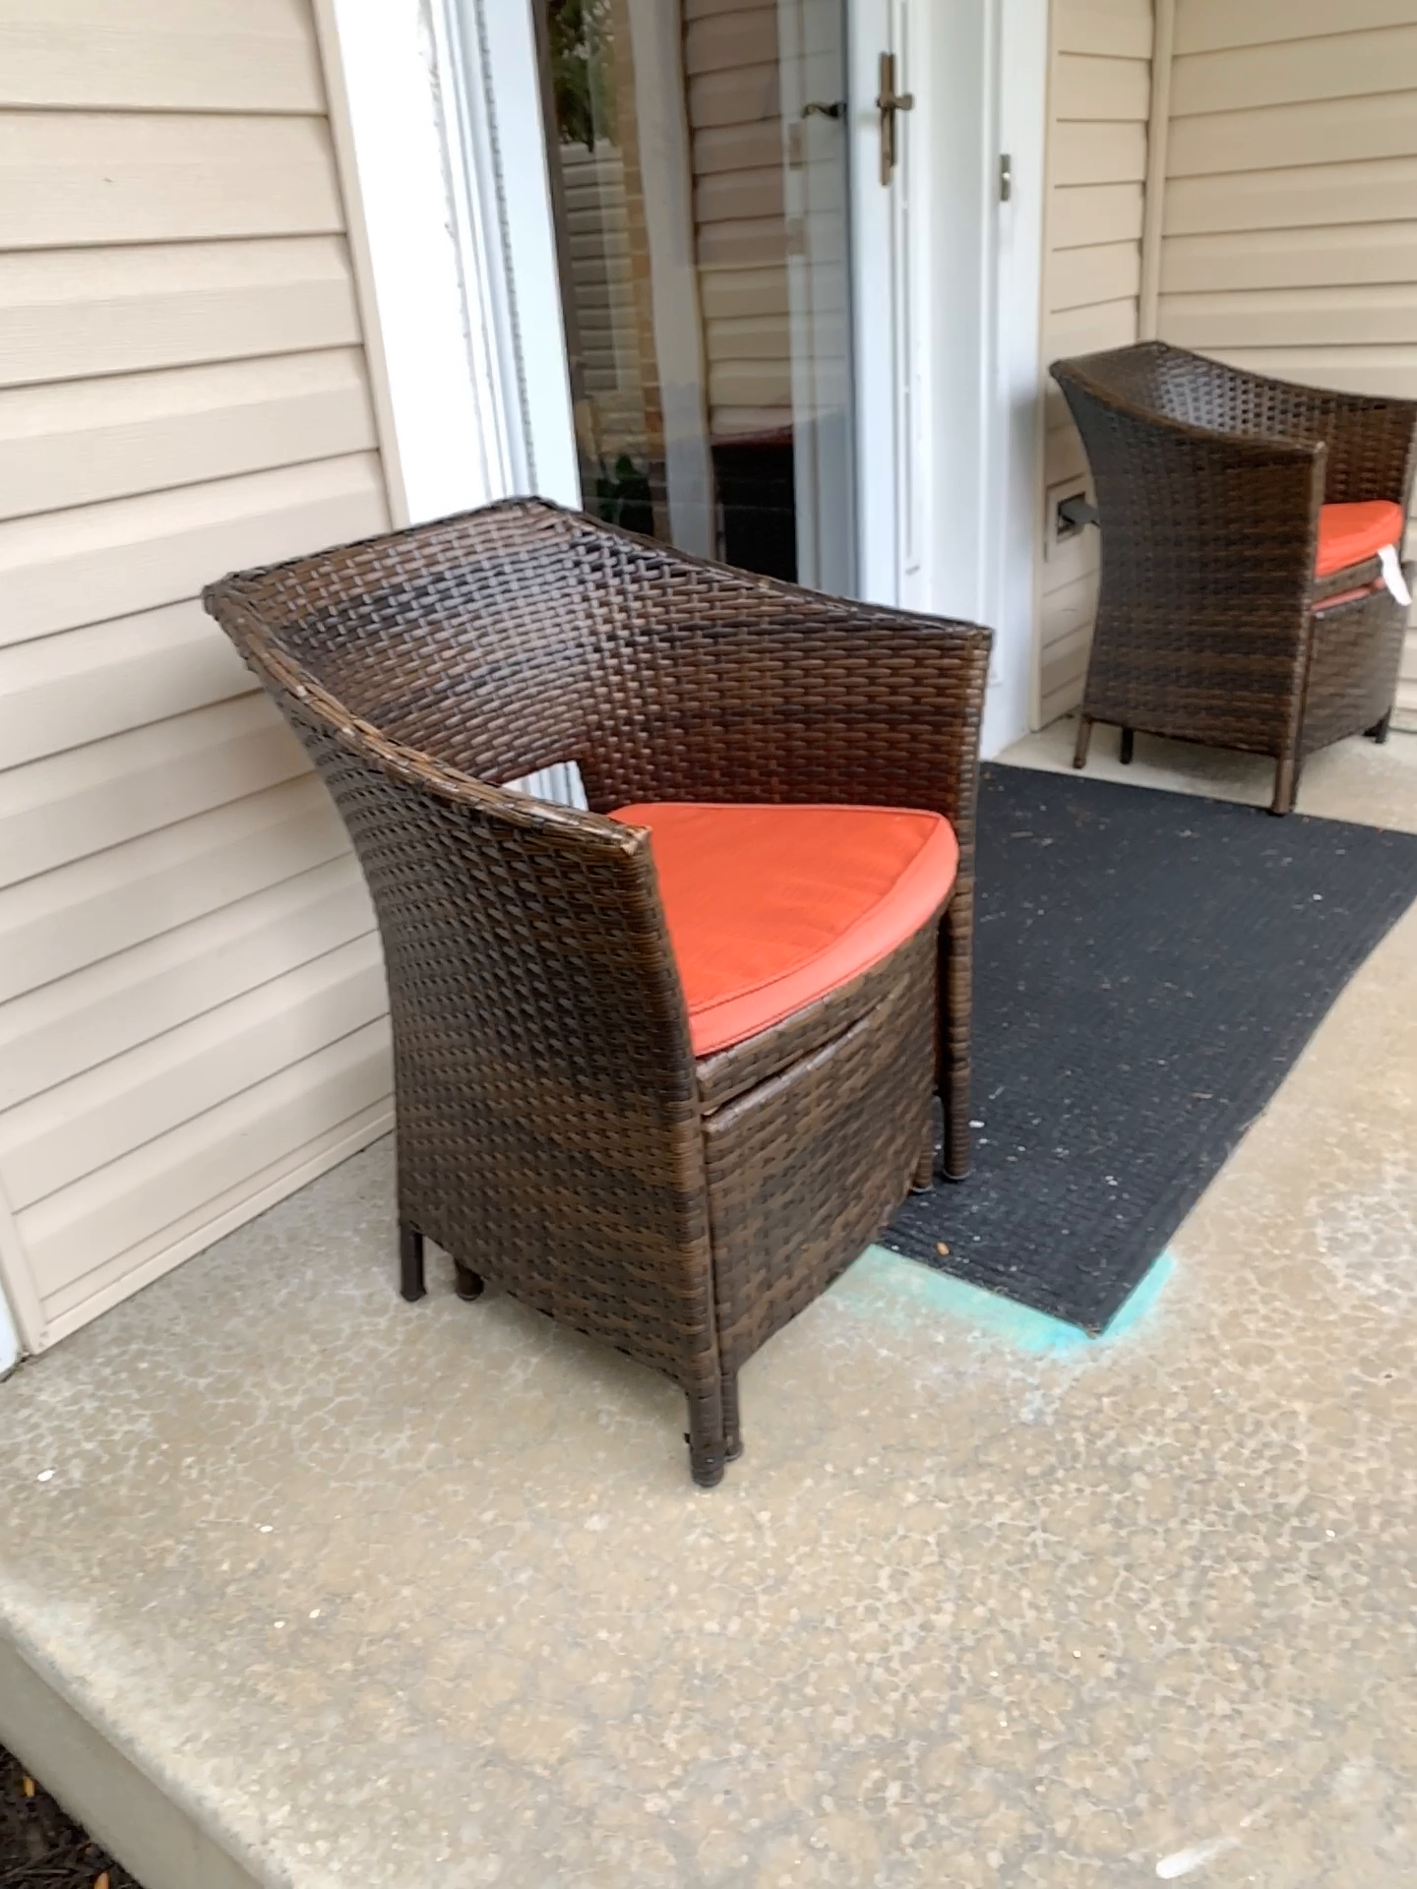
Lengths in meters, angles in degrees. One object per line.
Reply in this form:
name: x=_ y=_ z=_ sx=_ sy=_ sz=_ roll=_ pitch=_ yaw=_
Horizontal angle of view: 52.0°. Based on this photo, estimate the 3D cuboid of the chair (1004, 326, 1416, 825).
chair: x=1.001 y=-0.739 z=2.784 sx=0.605 sy=0.758 sz=0.645 roll=16 pitch=31 yaw=37

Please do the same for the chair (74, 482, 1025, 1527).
chair: x=-0.087 y=-0.025 z=1.482 sx=0.605 sy=0.758 sz=0.645 roll=11 pitch=29 yaw=30
